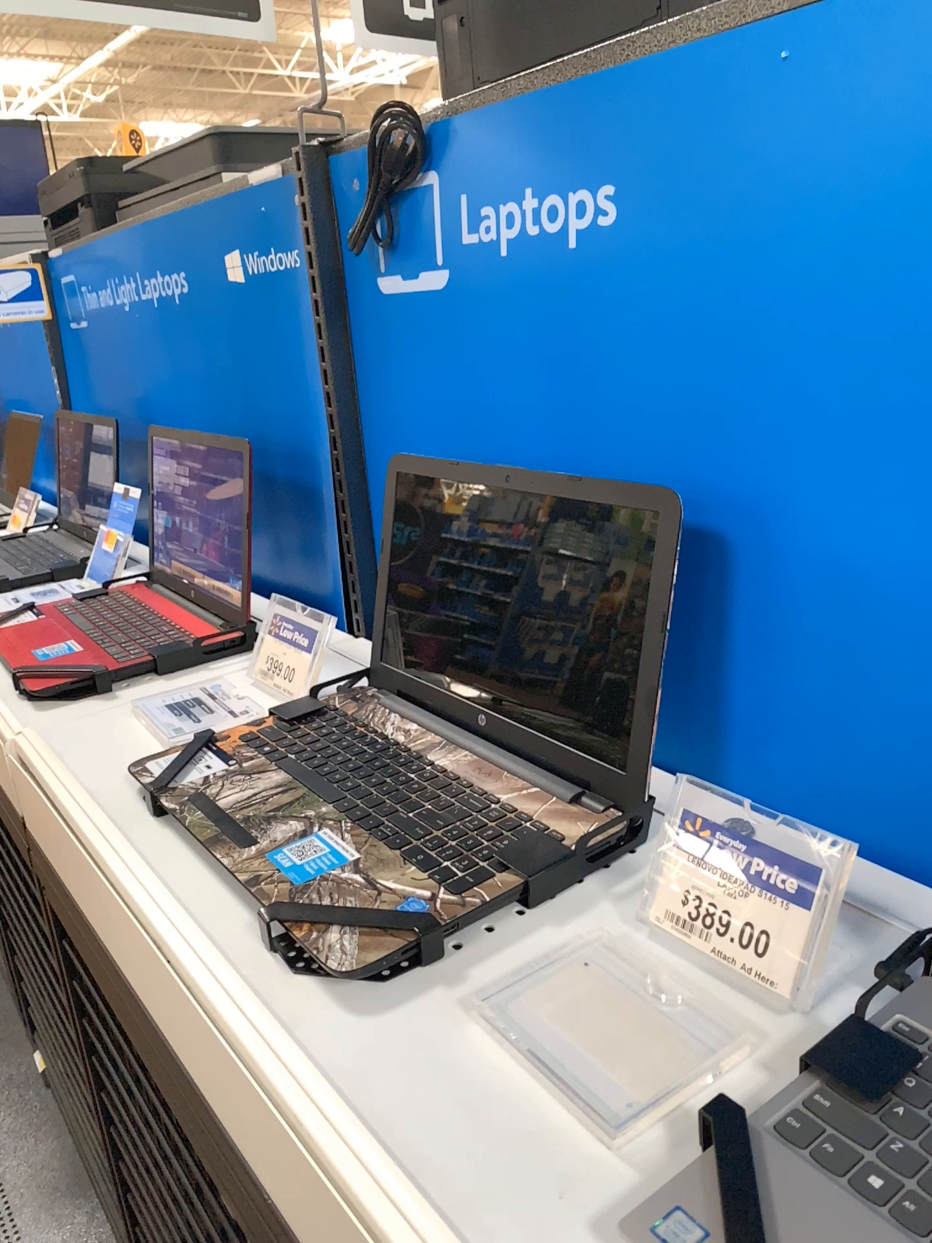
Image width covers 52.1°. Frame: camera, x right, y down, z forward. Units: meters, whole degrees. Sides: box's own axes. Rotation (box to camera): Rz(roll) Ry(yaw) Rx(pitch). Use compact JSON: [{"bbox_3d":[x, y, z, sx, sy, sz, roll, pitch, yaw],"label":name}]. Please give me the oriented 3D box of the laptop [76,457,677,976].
[{"bbox_3d":[-0.079,0.020,0.748,0.303,0.228,0.375,-16,21,-33],"label":"laptop"}]
